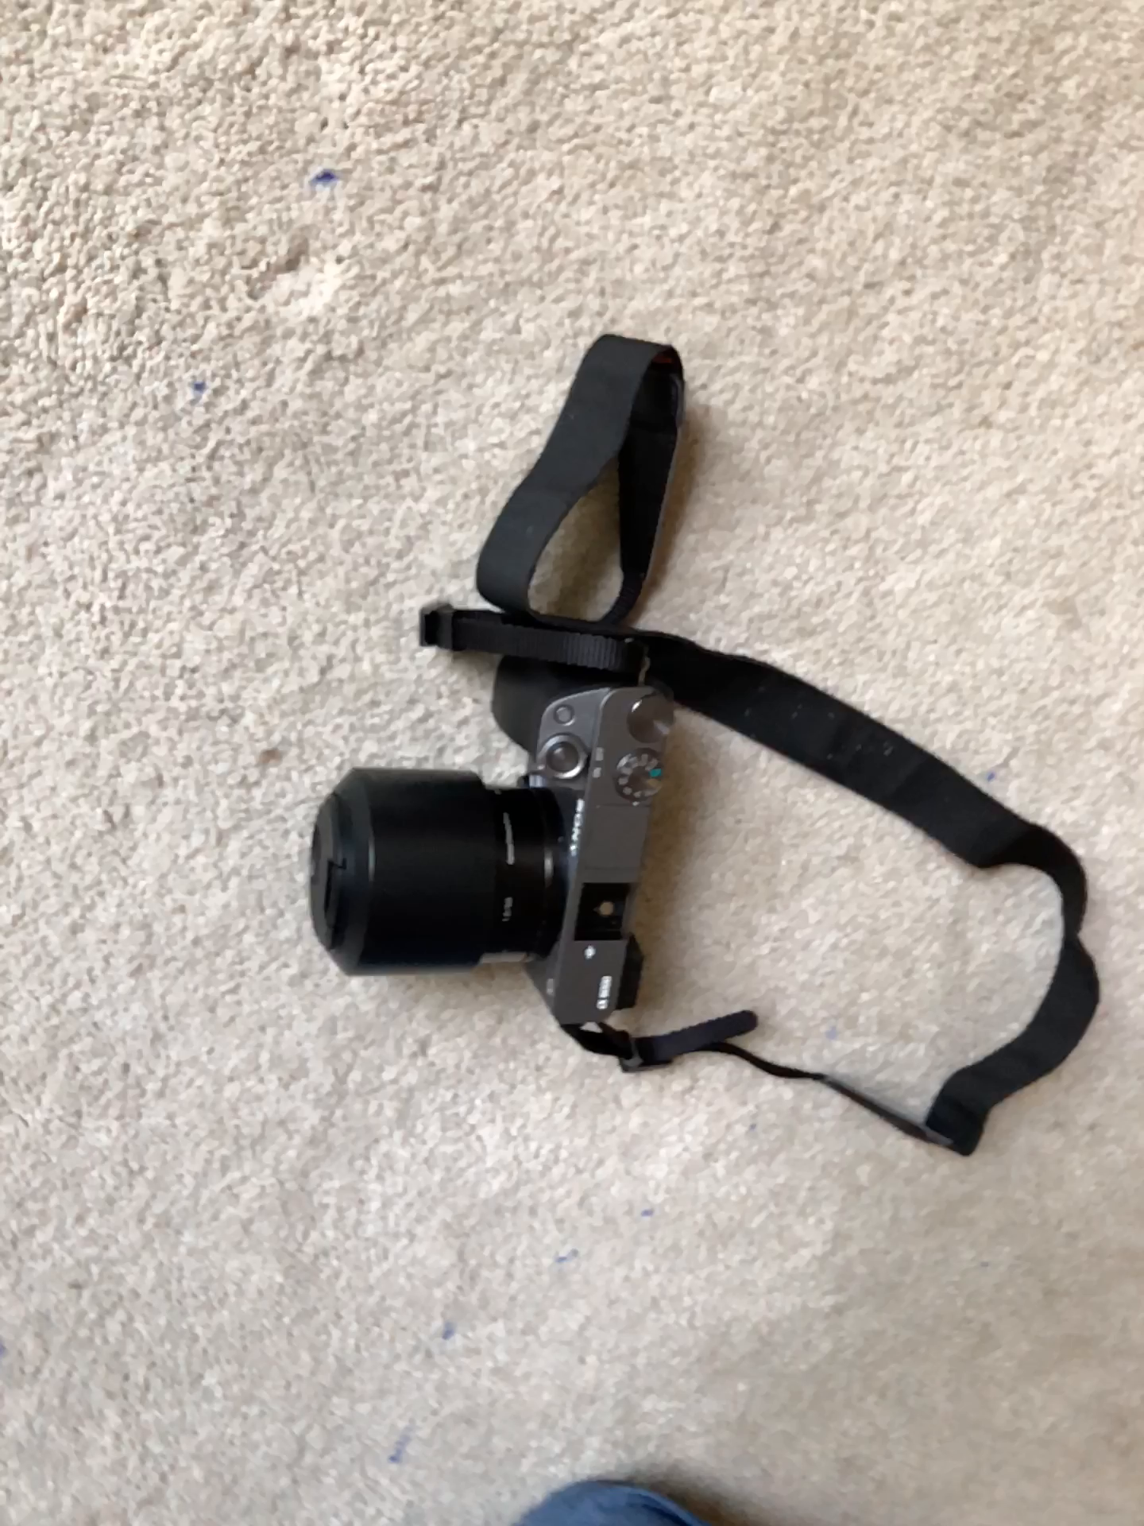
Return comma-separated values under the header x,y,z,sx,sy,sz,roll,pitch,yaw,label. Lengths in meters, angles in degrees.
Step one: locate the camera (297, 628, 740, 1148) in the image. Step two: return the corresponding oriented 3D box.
x,y,z,sx,sy,sz,roll,pitch,yaw,label
-0.022,0.036,0.403,0.110,0.070,0.140,1,107,-20,camera
